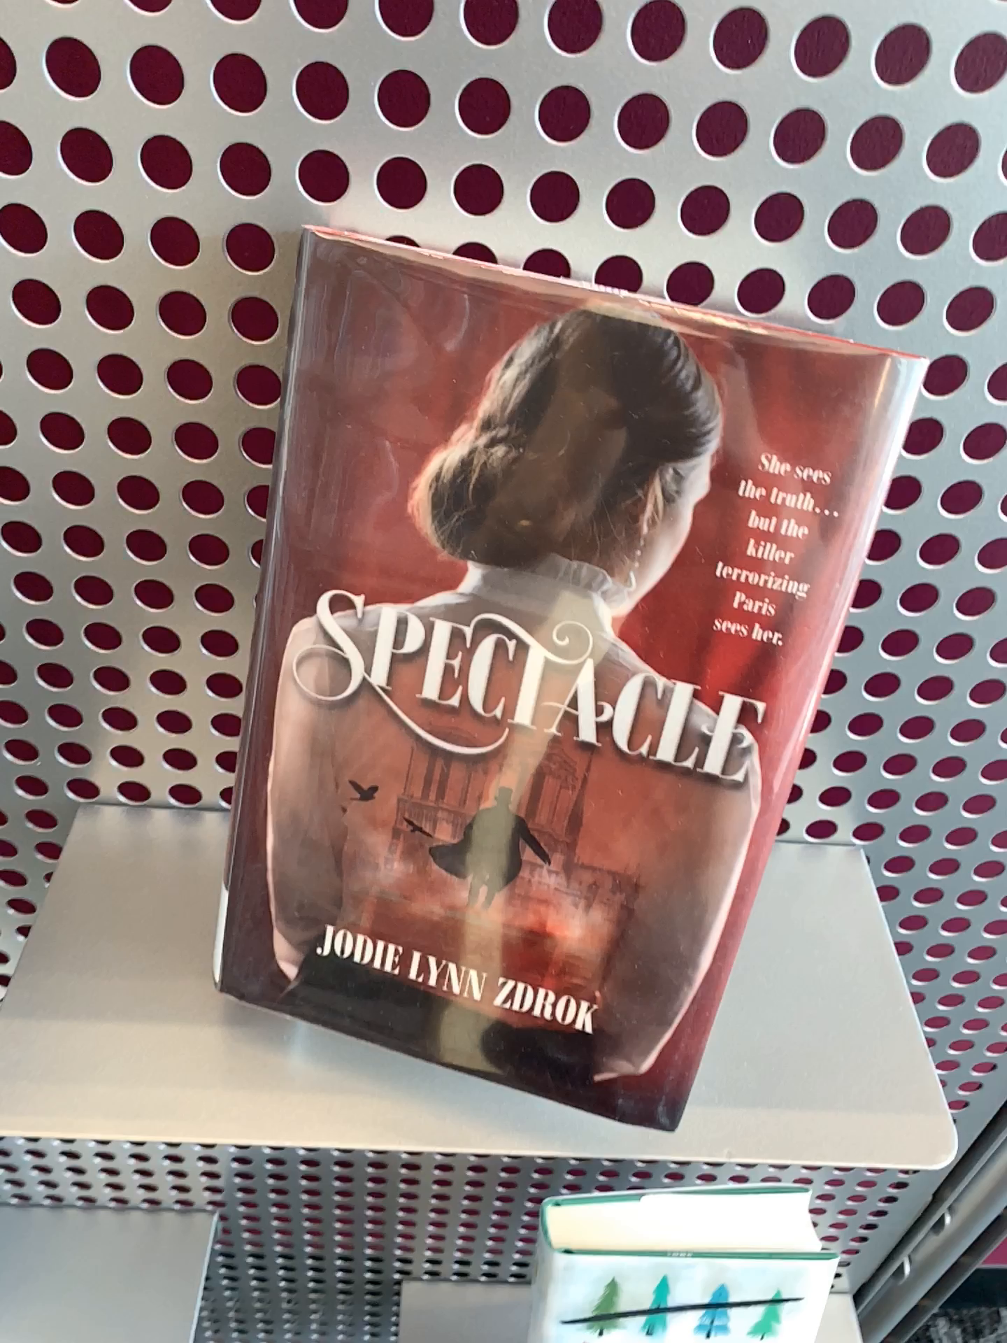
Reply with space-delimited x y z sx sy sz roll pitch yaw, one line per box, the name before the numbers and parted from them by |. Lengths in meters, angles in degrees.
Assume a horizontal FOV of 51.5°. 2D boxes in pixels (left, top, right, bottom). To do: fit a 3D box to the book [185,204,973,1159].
book | 0.006 0.005 0.278 0.153 0.212 0.059 14 22 9
